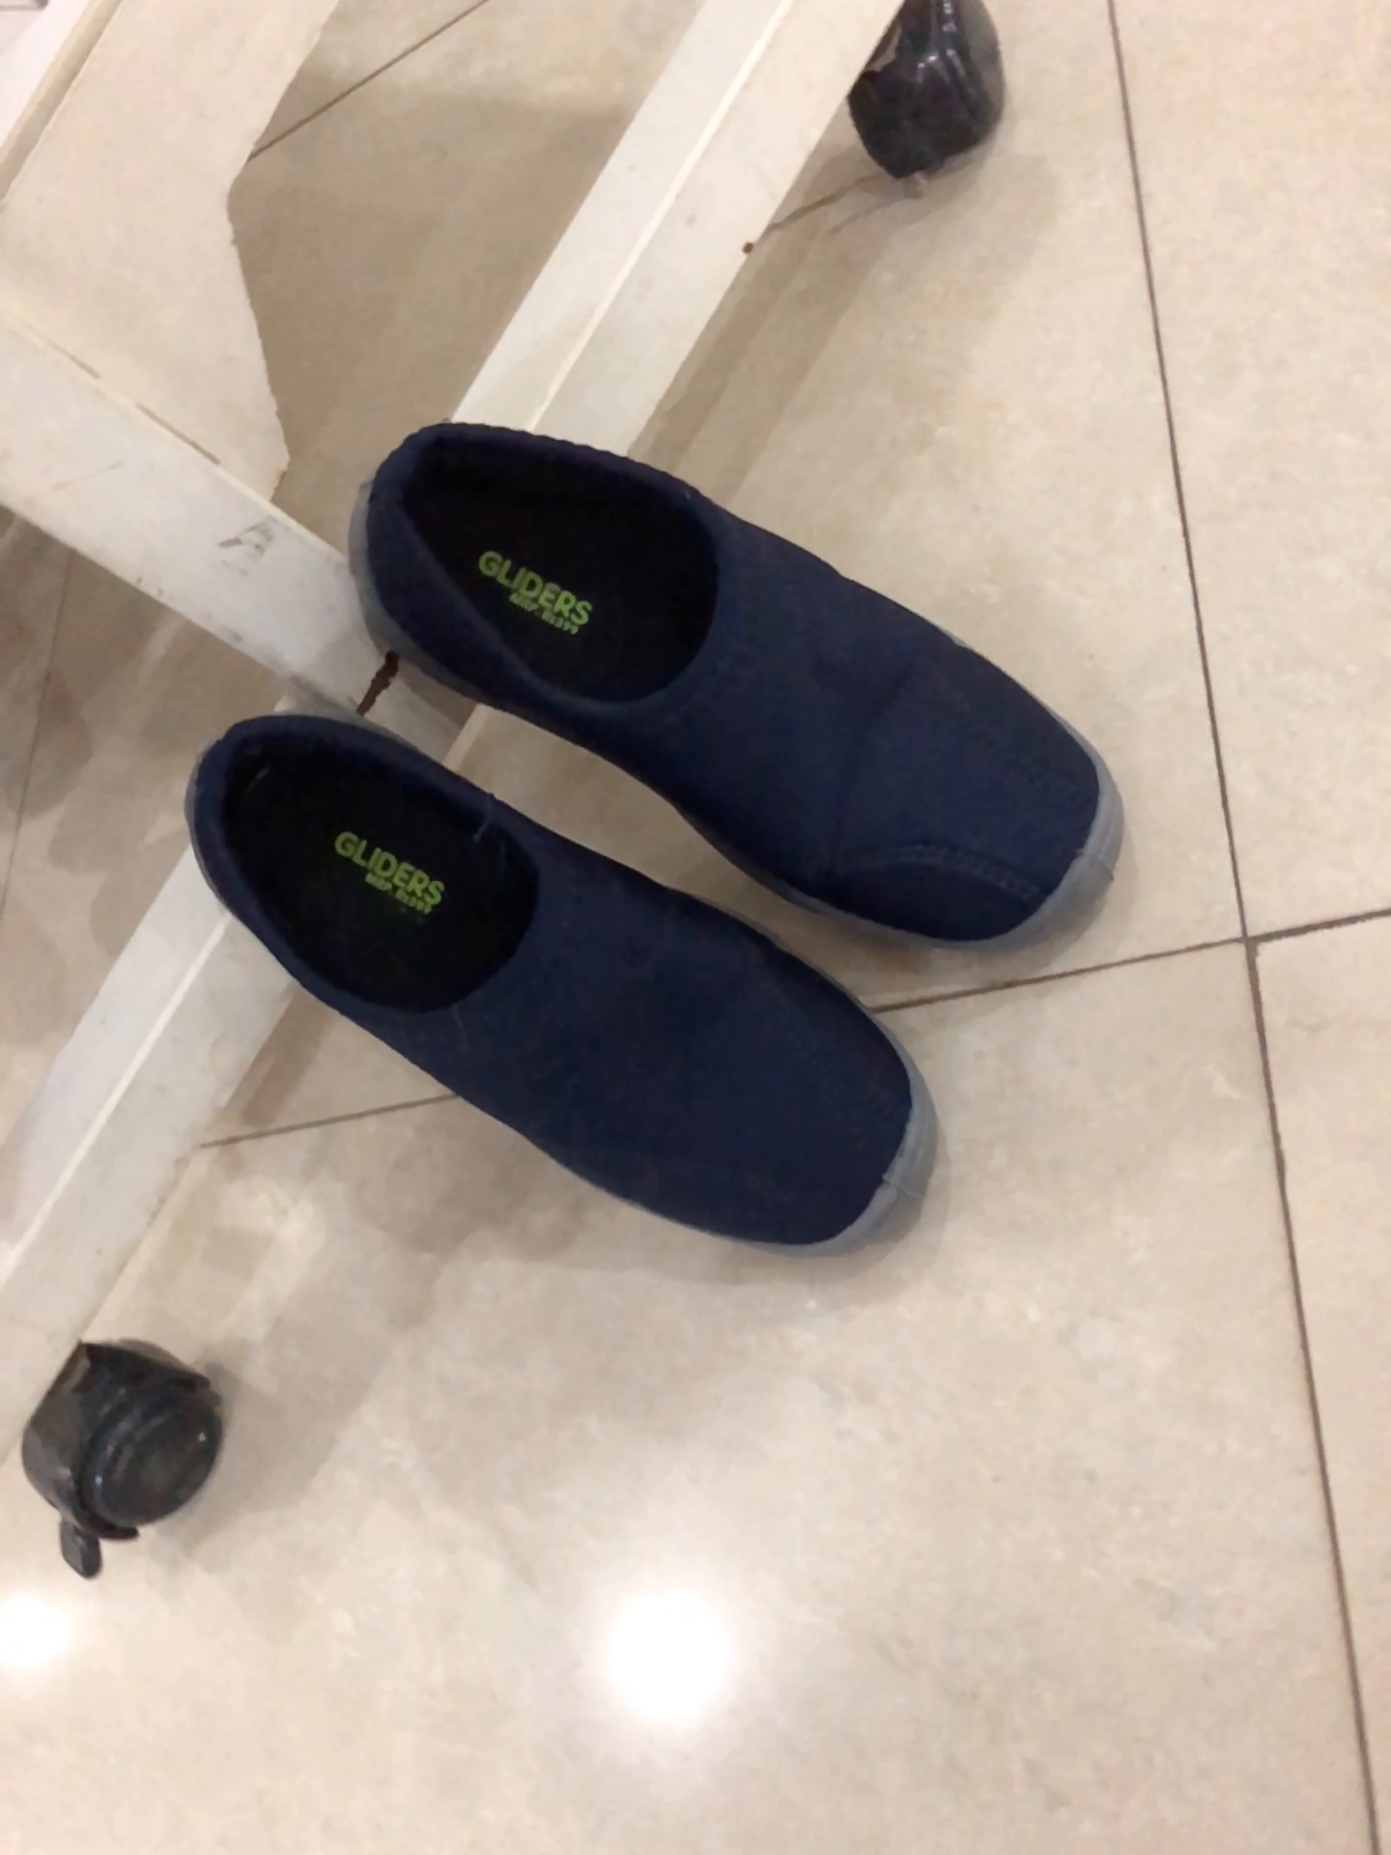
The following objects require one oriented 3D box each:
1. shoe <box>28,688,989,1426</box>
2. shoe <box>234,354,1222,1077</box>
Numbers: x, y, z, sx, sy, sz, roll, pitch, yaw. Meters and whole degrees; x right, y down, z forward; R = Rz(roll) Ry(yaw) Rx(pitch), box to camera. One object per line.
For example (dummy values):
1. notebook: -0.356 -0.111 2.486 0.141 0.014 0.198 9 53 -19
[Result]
1. shoe: -0.095 0.072 0.863 0.460 0.200 0.160 29 82 6
2. shoe: 0.017 -0.110 0.915 0.490 0.207 0.186 27 86 7
